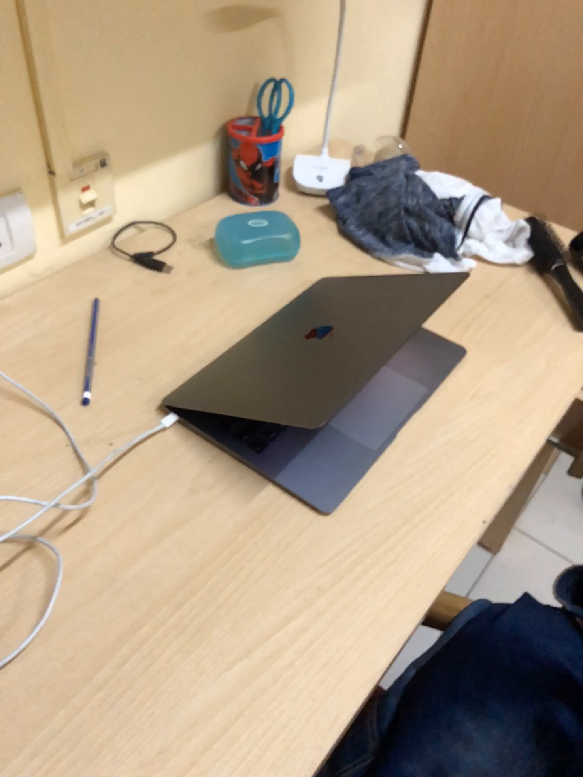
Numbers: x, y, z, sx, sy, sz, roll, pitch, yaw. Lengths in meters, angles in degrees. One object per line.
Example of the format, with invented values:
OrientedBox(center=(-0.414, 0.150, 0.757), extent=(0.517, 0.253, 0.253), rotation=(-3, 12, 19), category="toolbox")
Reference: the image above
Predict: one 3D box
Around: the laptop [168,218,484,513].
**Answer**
OrientedBox(center=(0.045, -0.046, 0.686), extent=(0.193, 0.094, 0.295), rotation=(30, 49, 21), category="laptop")
